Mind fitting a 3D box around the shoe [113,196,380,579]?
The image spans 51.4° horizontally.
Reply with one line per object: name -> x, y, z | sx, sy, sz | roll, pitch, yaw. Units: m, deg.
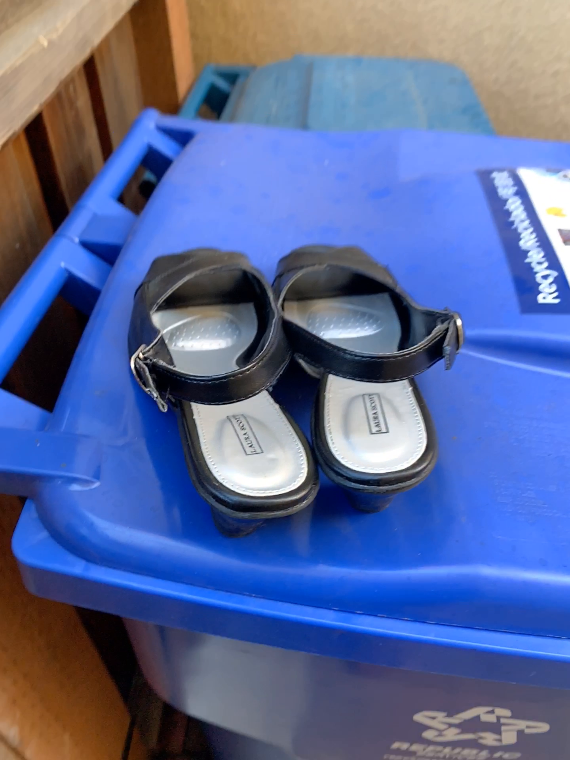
shoe -> -0.047, -0.022, 0.350 | 0.090, 0.089, 0.252 | -2, 35, -19

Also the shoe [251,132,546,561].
shoe -> 0.037, -0.041, 0.338 | 0.090, 0.099, 0.253 | -5, 44, -4
